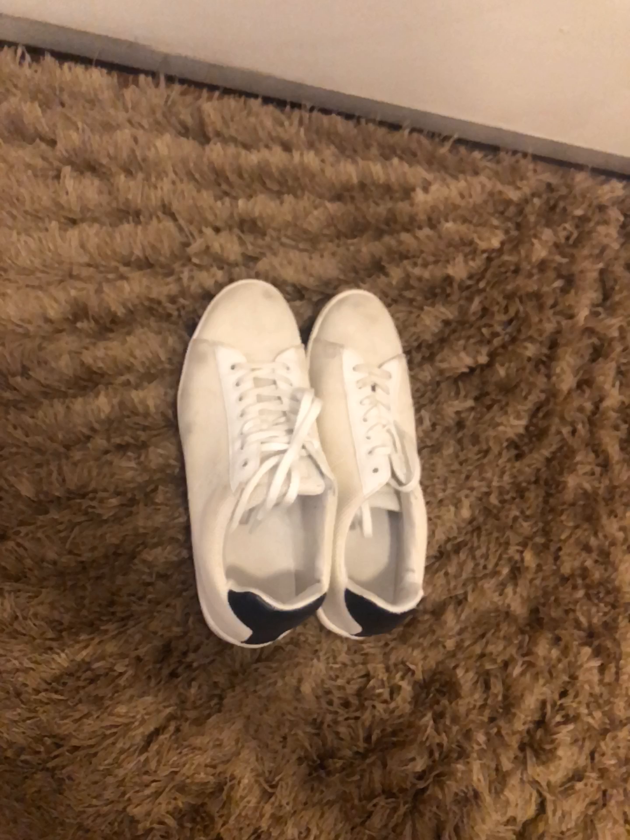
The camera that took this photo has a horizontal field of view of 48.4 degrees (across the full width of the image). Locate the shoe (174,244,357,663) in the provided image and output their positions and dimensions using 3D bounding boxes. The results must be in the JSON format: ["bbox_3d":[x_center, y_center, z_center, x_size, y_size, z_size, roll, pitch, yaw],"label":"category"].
[{"bbox_3d":[-0.038,0.023,0.488,0.101,0.079,0.263,3,76,-21],"label":"shoe"}]

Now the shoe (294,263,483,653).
[{"bbox_3d":[0.048,0.029,0.522,0.105,0.079,0.263,4,76,-21],"label":"shoe"}]
